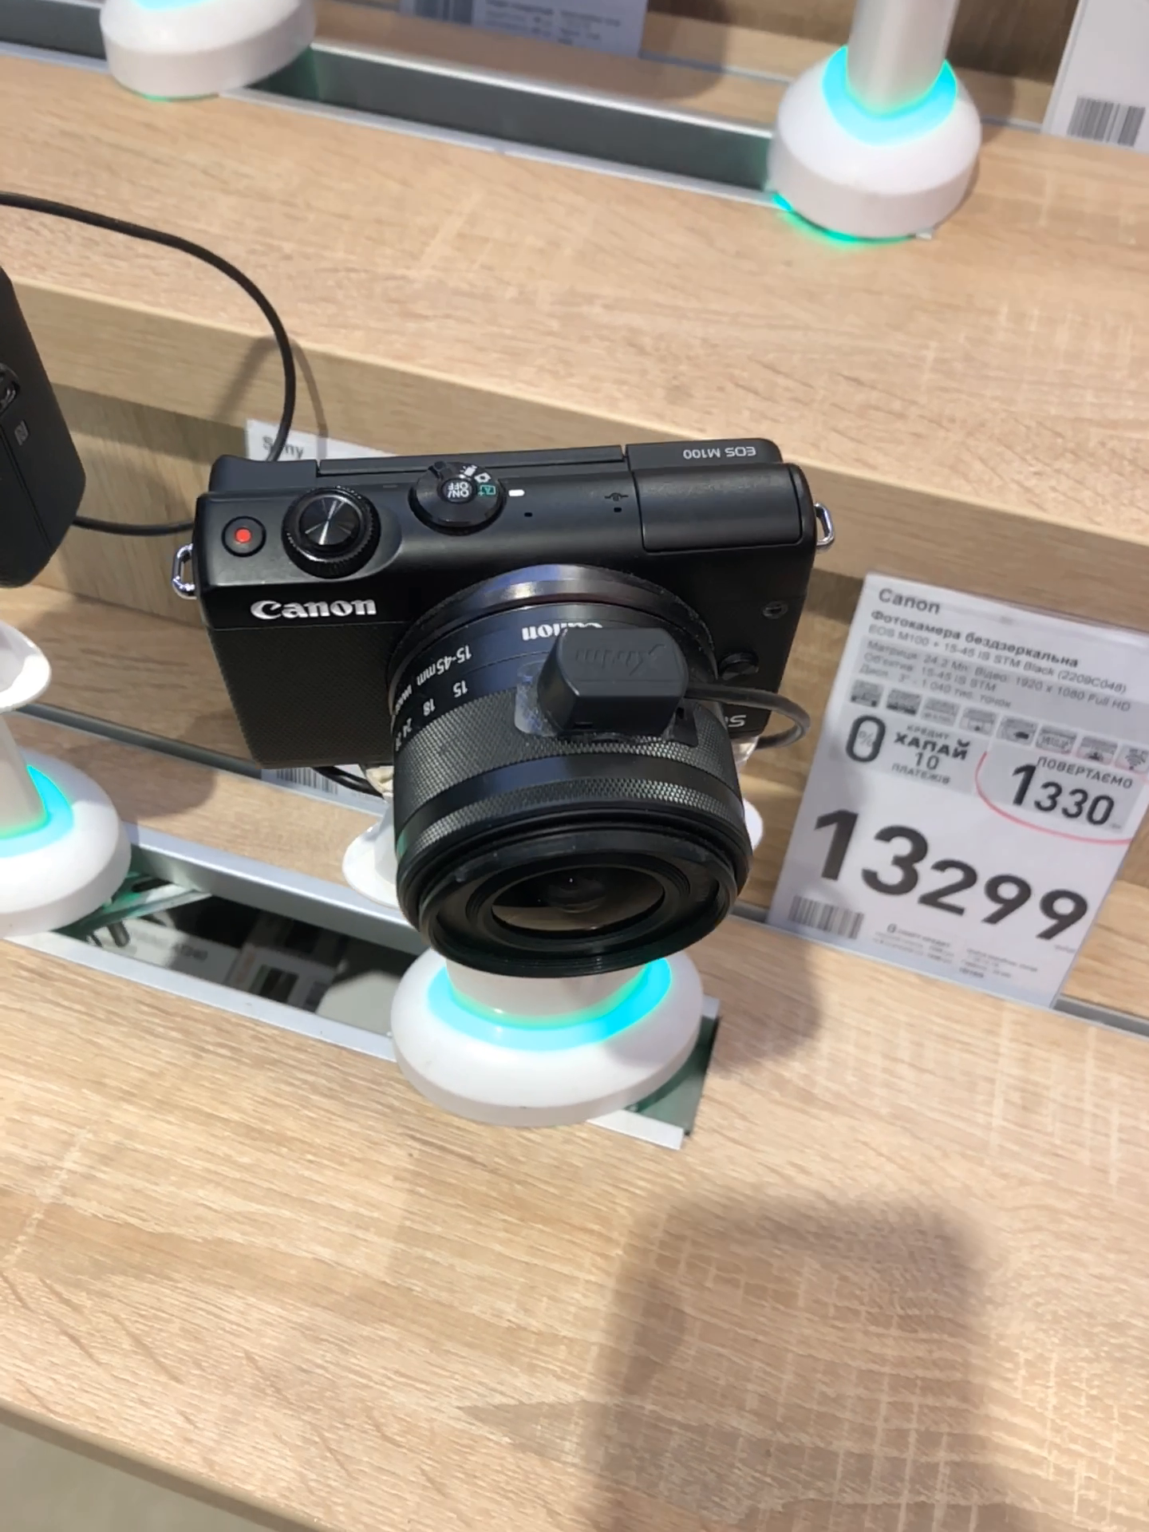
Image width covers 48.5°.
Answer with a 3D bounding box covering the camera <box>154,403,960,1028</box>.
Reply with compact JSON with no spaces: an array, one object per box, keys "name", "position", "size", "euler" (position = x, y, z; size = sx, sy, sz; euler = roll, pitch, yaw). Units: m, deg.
[{"name":"camera","position":[-0.007,-0.010,0.223],"size":[0.112,0.060,0.082],"euler":[-4,56,-6]}]
